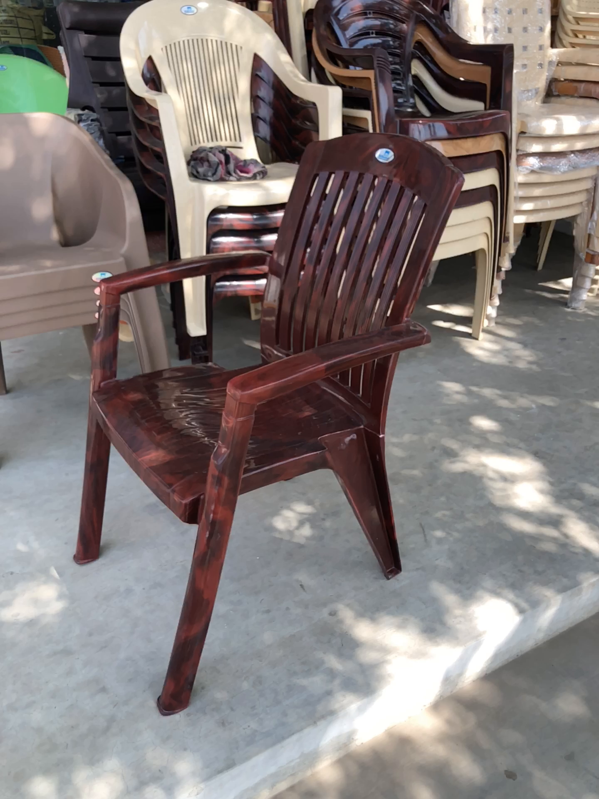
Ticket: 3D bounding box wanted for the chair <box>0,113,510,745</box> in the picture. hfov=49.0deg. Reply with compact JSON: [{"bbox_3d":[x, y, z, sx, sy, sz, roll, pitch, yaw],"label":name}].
[{"bbox_3d":[-0.129,-0.035,1.258,0.692,0.855,0.611,-19,34,-30],"label":"chair"}]
